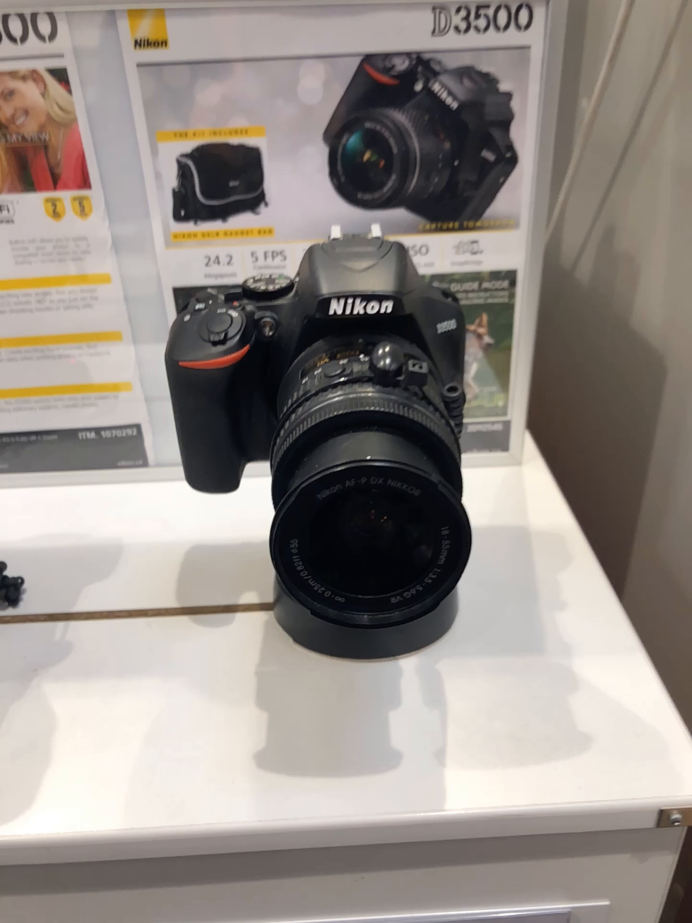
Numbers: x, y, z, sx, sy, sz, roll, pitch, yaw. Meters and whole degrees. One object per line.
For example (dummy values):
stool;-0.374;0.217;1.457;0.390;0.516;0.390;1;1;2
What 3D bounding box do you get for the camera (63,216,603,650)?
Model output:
camera;-0.005;-0.022;0.269;0.130;0.089;0.141;-3;30;-2
